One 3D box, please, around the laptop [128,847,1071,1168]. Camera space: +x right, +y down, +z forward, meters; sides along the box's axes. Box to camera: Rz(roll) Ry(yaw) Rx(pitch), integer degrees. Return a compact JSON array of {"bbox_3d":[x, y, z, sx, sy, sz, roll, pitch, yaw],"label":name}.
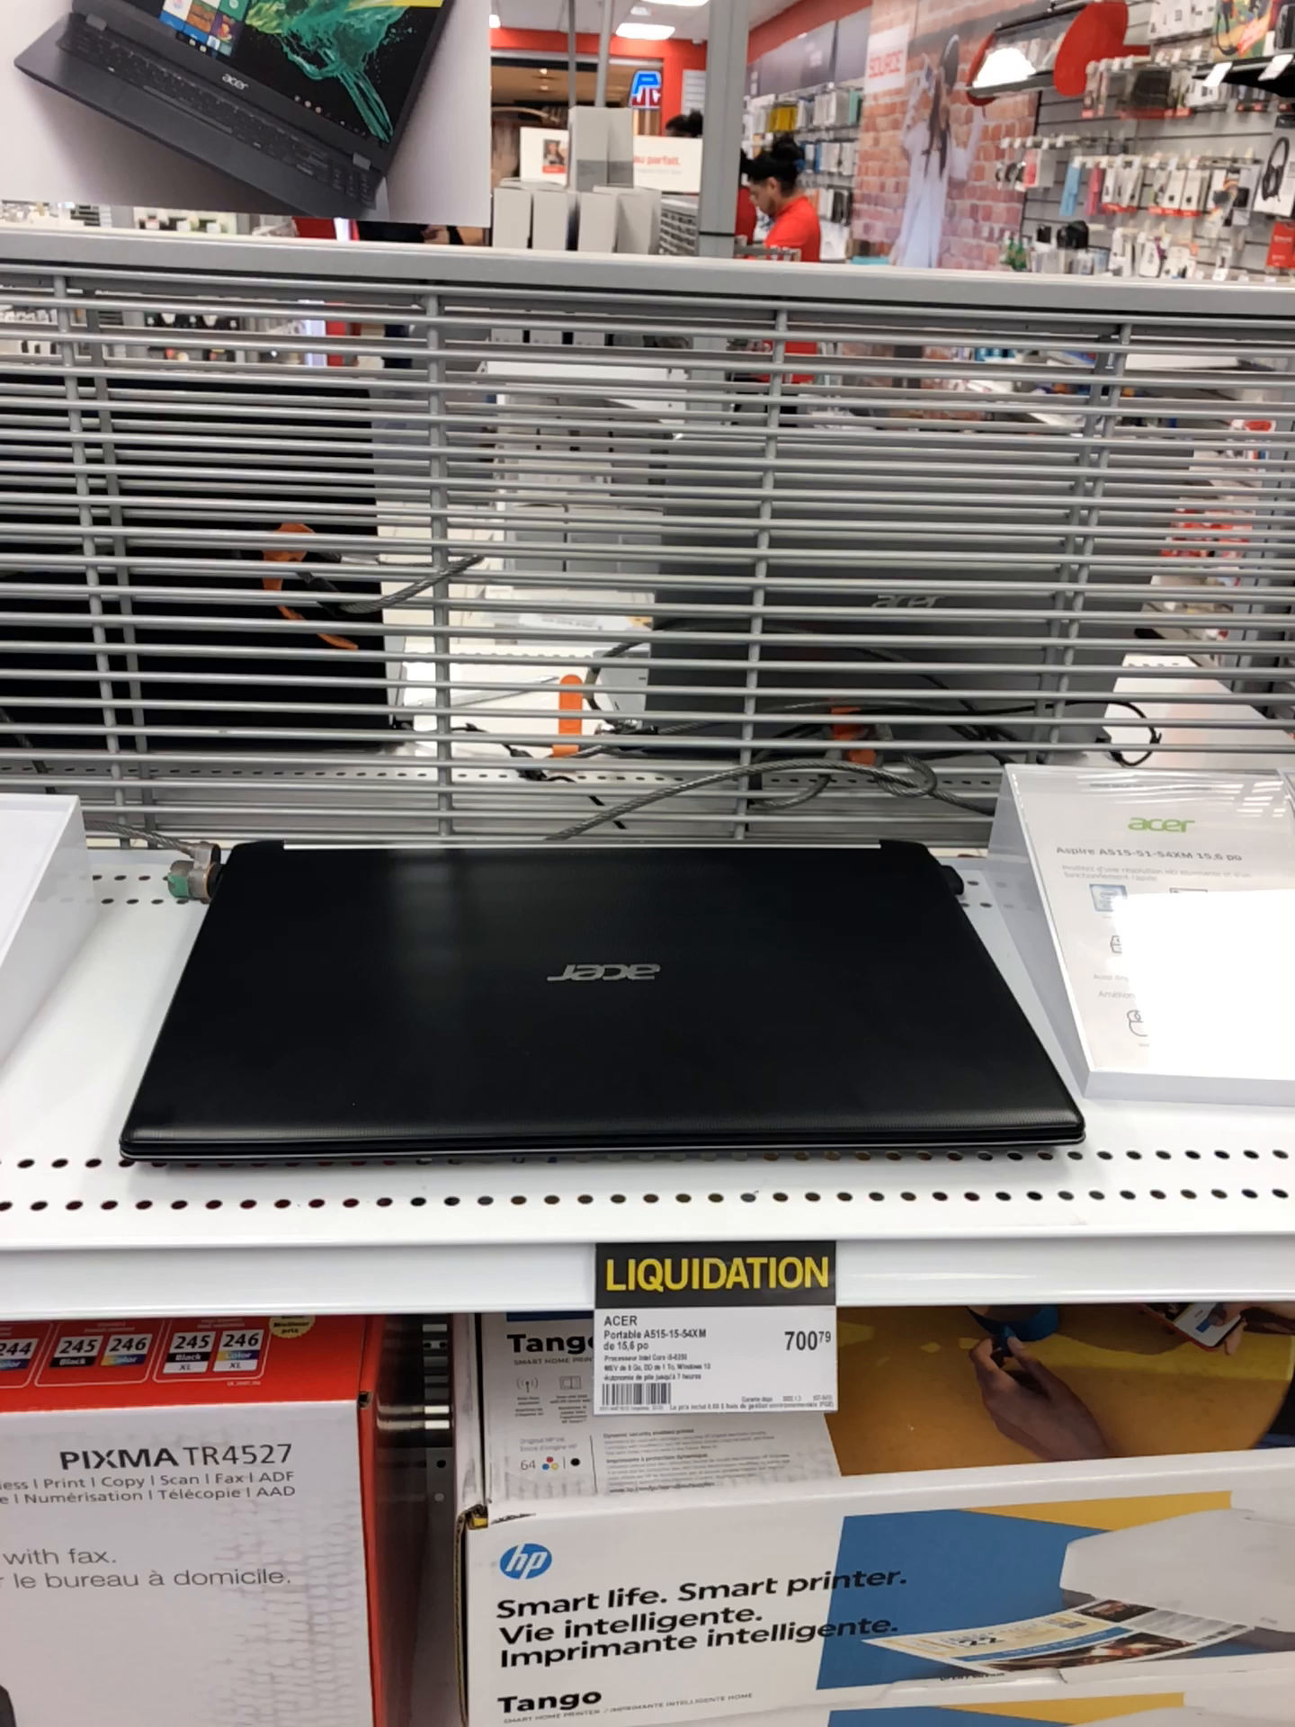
[{"bbox_3d":[-0.020,0.052,0.646,0.361,0.012,0.228,0,29,-6],"label":"laptop"}]
